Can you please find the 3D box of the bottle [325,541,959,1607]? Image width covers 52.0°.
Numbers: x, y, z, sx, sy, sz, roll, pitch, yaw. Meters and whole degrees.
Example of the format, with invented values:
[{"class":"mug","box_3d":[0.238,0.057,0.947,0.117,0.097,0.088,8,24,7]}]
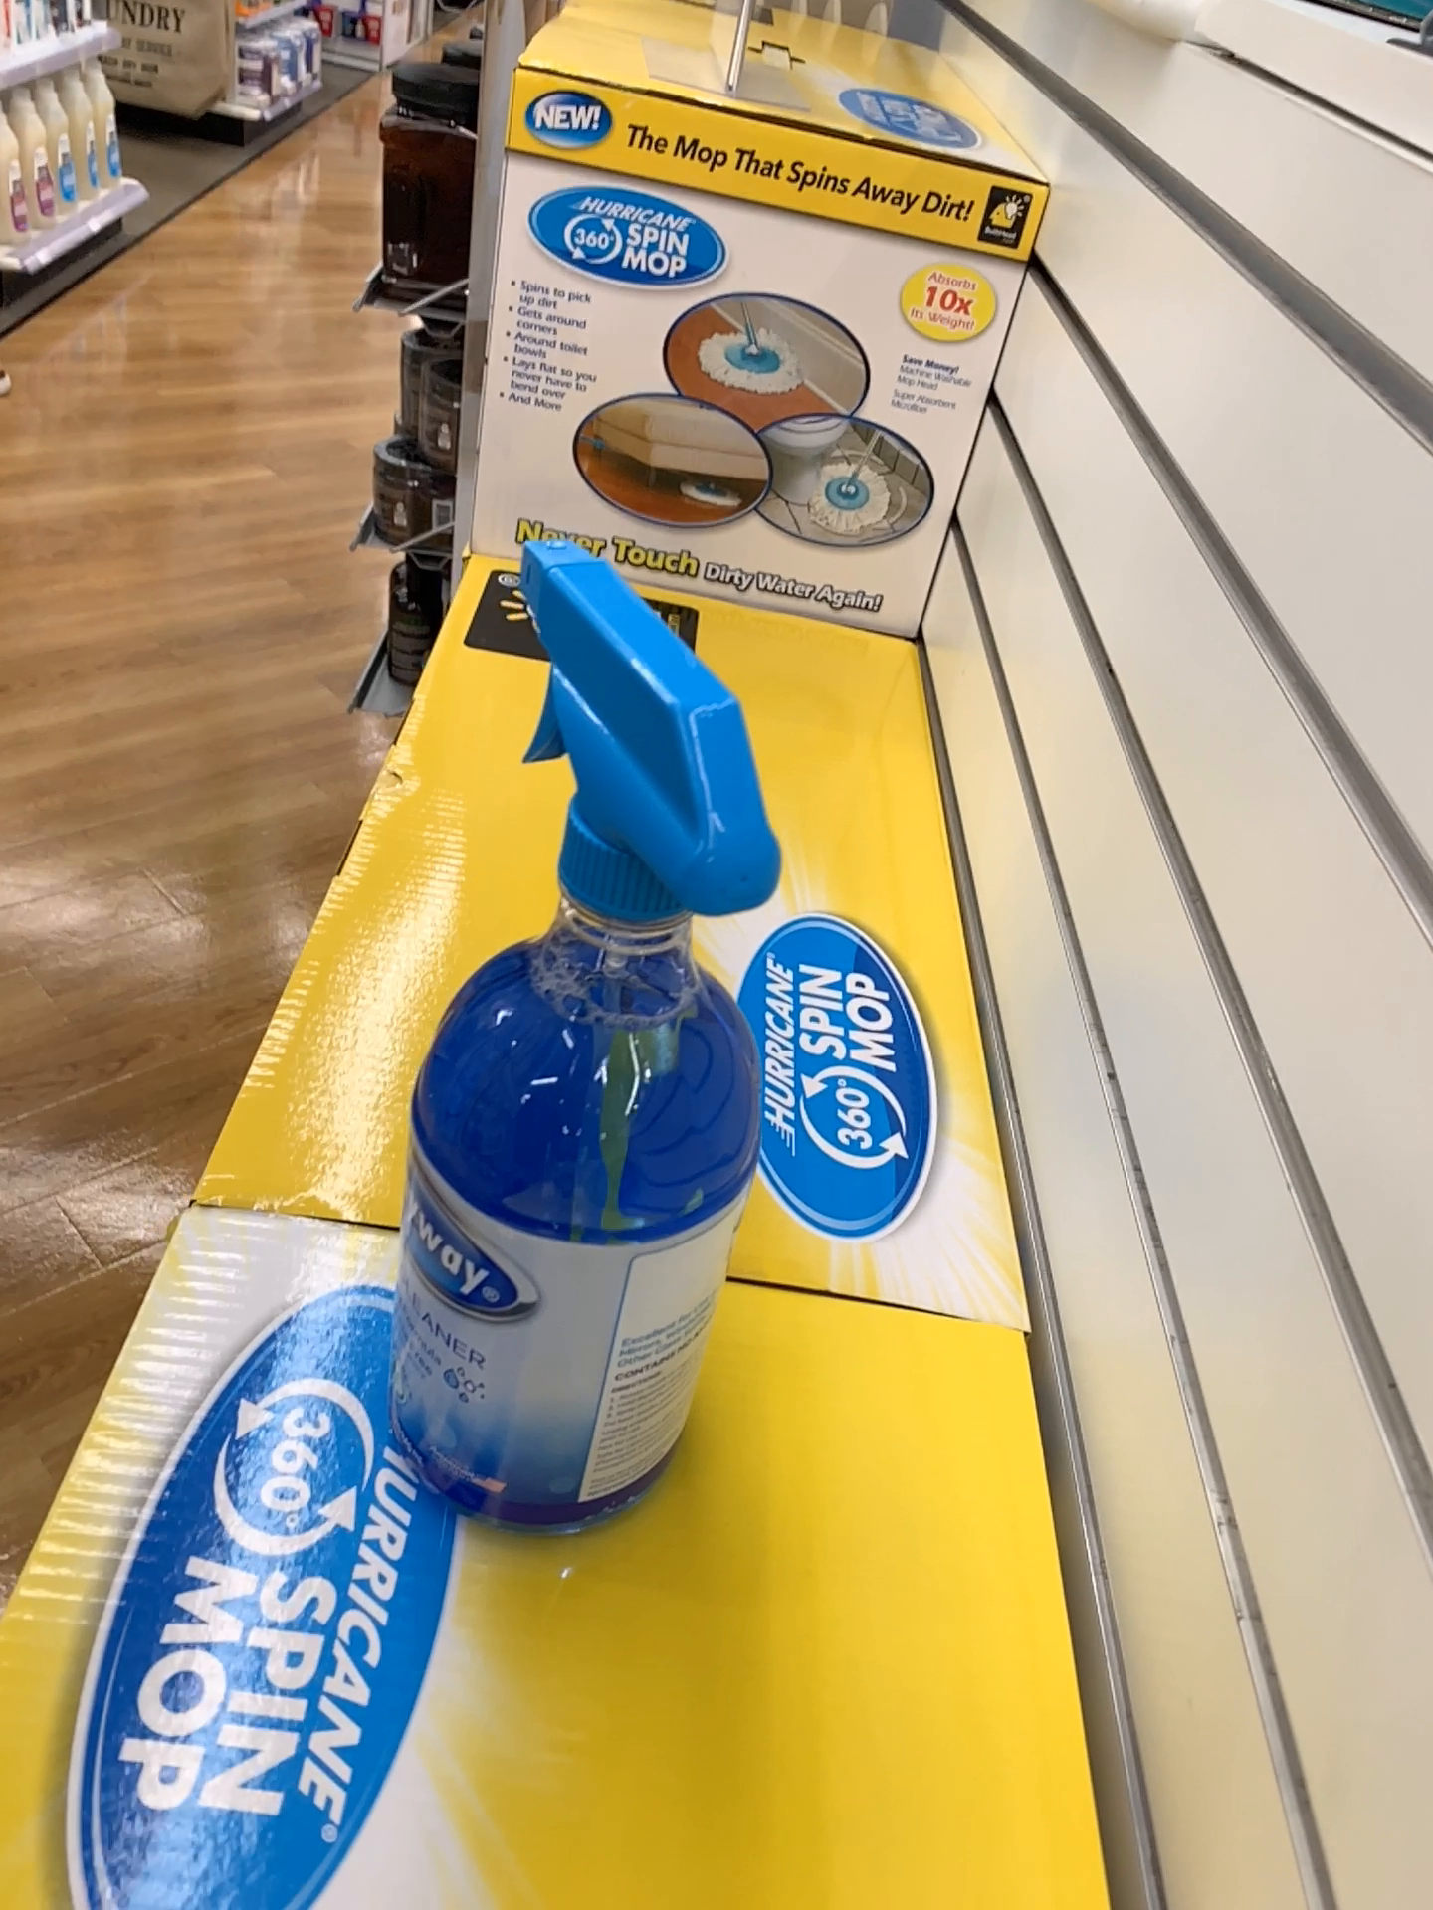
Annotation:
[{"class":"bottle","box_3d":[-0.038,0.037,0.360,0.090,0.239,0.110,-4,40,-22]}]
